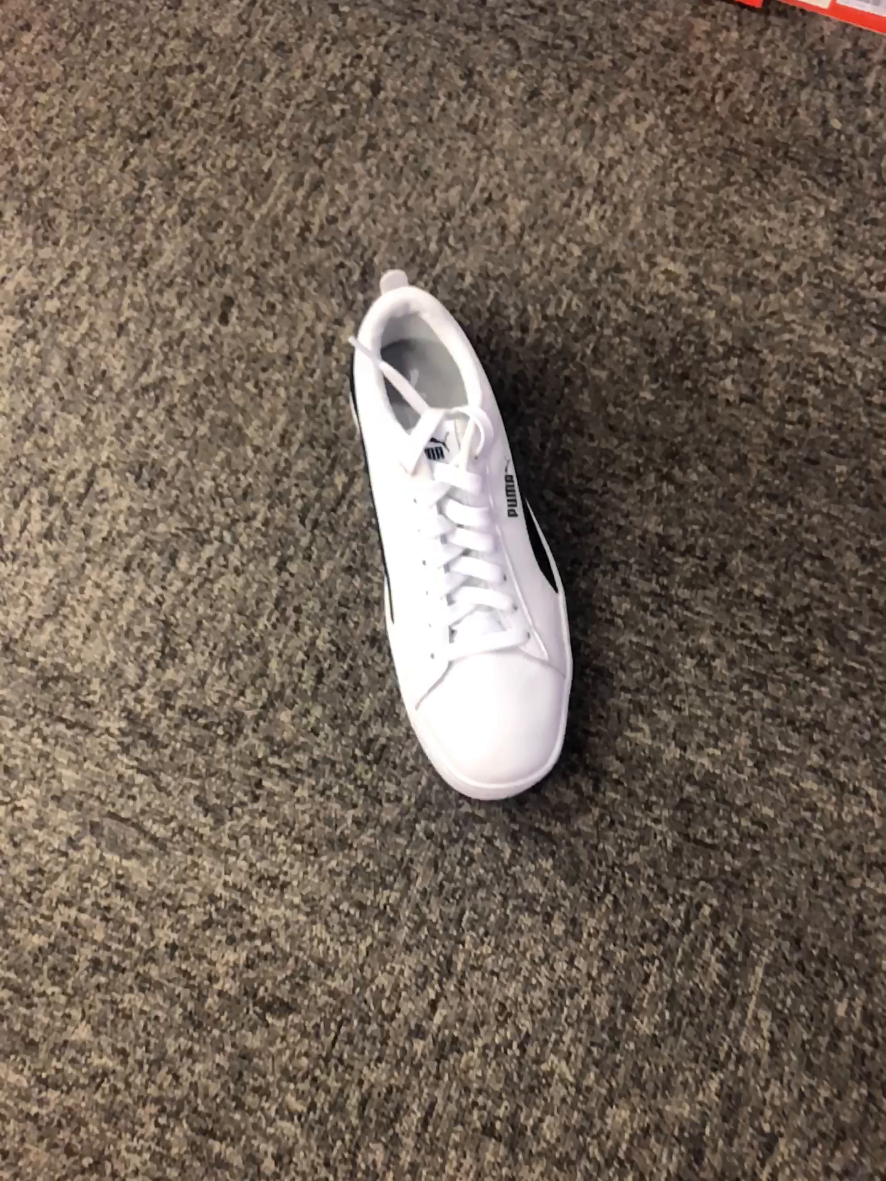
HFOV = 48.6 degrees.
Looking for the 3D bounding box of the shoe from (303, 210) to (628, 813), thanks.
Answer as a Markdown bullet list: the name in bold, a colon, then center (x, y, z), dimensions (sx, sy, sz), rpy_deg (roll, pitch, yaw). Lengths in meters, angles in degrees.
- **shoe**: center (0.006, -0.039, 0.517), dimensions (0.110, 0.090, 0.290), rpy_deg (-9, 76, -2)
